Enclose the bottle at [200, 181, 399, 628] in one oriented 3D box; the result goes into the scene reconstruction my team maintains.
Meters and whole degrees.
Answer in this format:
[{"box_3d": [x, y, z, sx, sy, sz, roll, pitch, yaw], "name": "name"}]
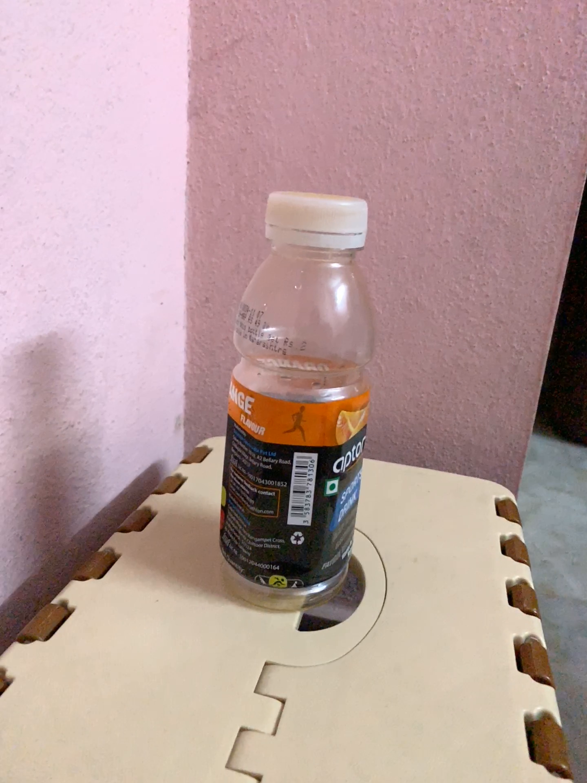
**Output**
[{"box_3d": [0.002, 0.003, 0.273, 0.060, 0.179, 0.070, 9, 21, 14], "name": "bottle"}]
